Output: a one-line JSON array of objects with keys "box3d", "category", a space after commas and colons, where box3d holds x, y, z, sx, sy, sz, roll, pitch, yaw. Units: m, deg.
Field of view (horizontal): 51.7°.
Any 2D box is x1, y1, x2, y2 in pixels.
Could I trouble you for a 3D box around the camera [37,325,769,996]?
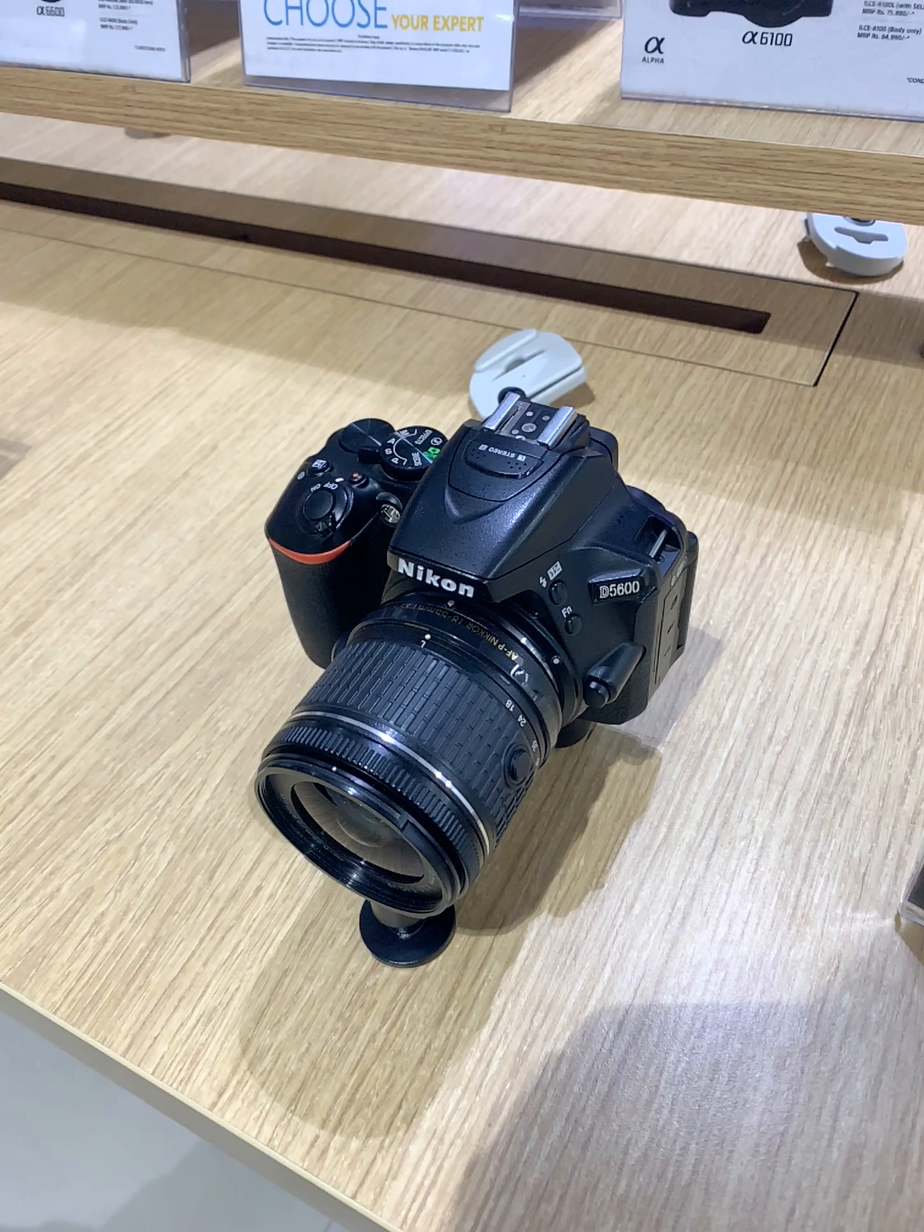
[{"box3d": [-0.007, 0.001, 0.243, 0.124, 0.080, 0.114, 20, 51, 23], "category": "camera"}]
